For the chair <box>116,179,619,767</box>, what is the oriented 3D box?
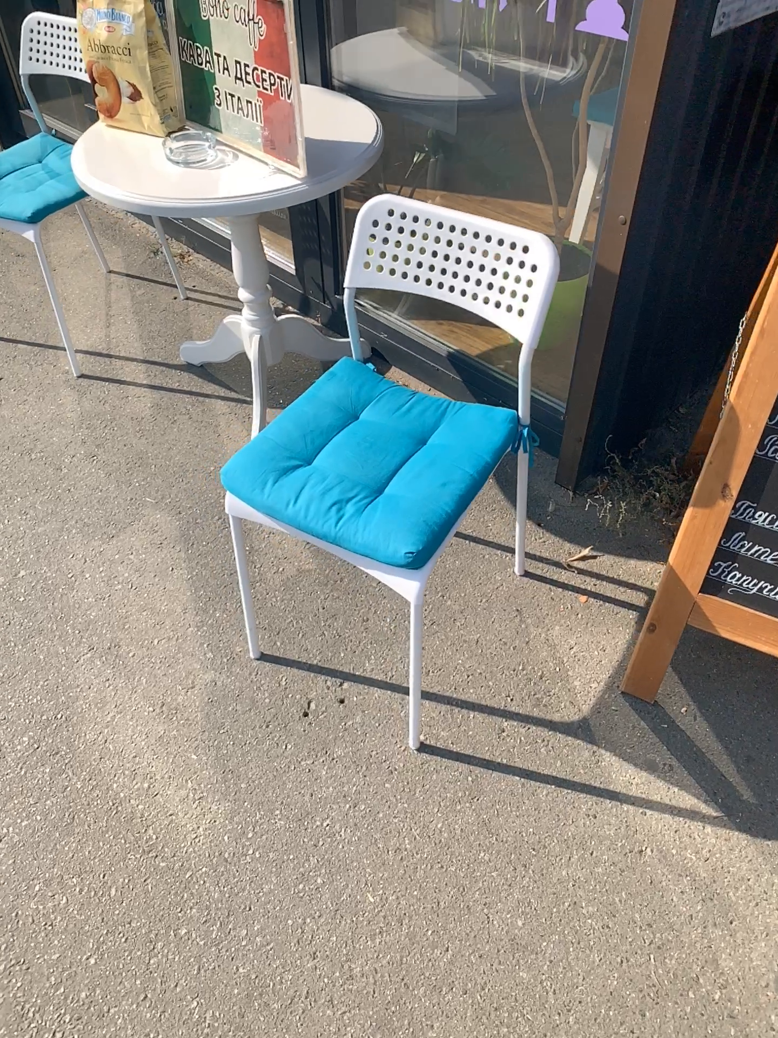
[{"bbox_3d":[-0.003,-0.080,1.344,0.481,0.697,0.542,23,50,22],"label":"chair"}]
